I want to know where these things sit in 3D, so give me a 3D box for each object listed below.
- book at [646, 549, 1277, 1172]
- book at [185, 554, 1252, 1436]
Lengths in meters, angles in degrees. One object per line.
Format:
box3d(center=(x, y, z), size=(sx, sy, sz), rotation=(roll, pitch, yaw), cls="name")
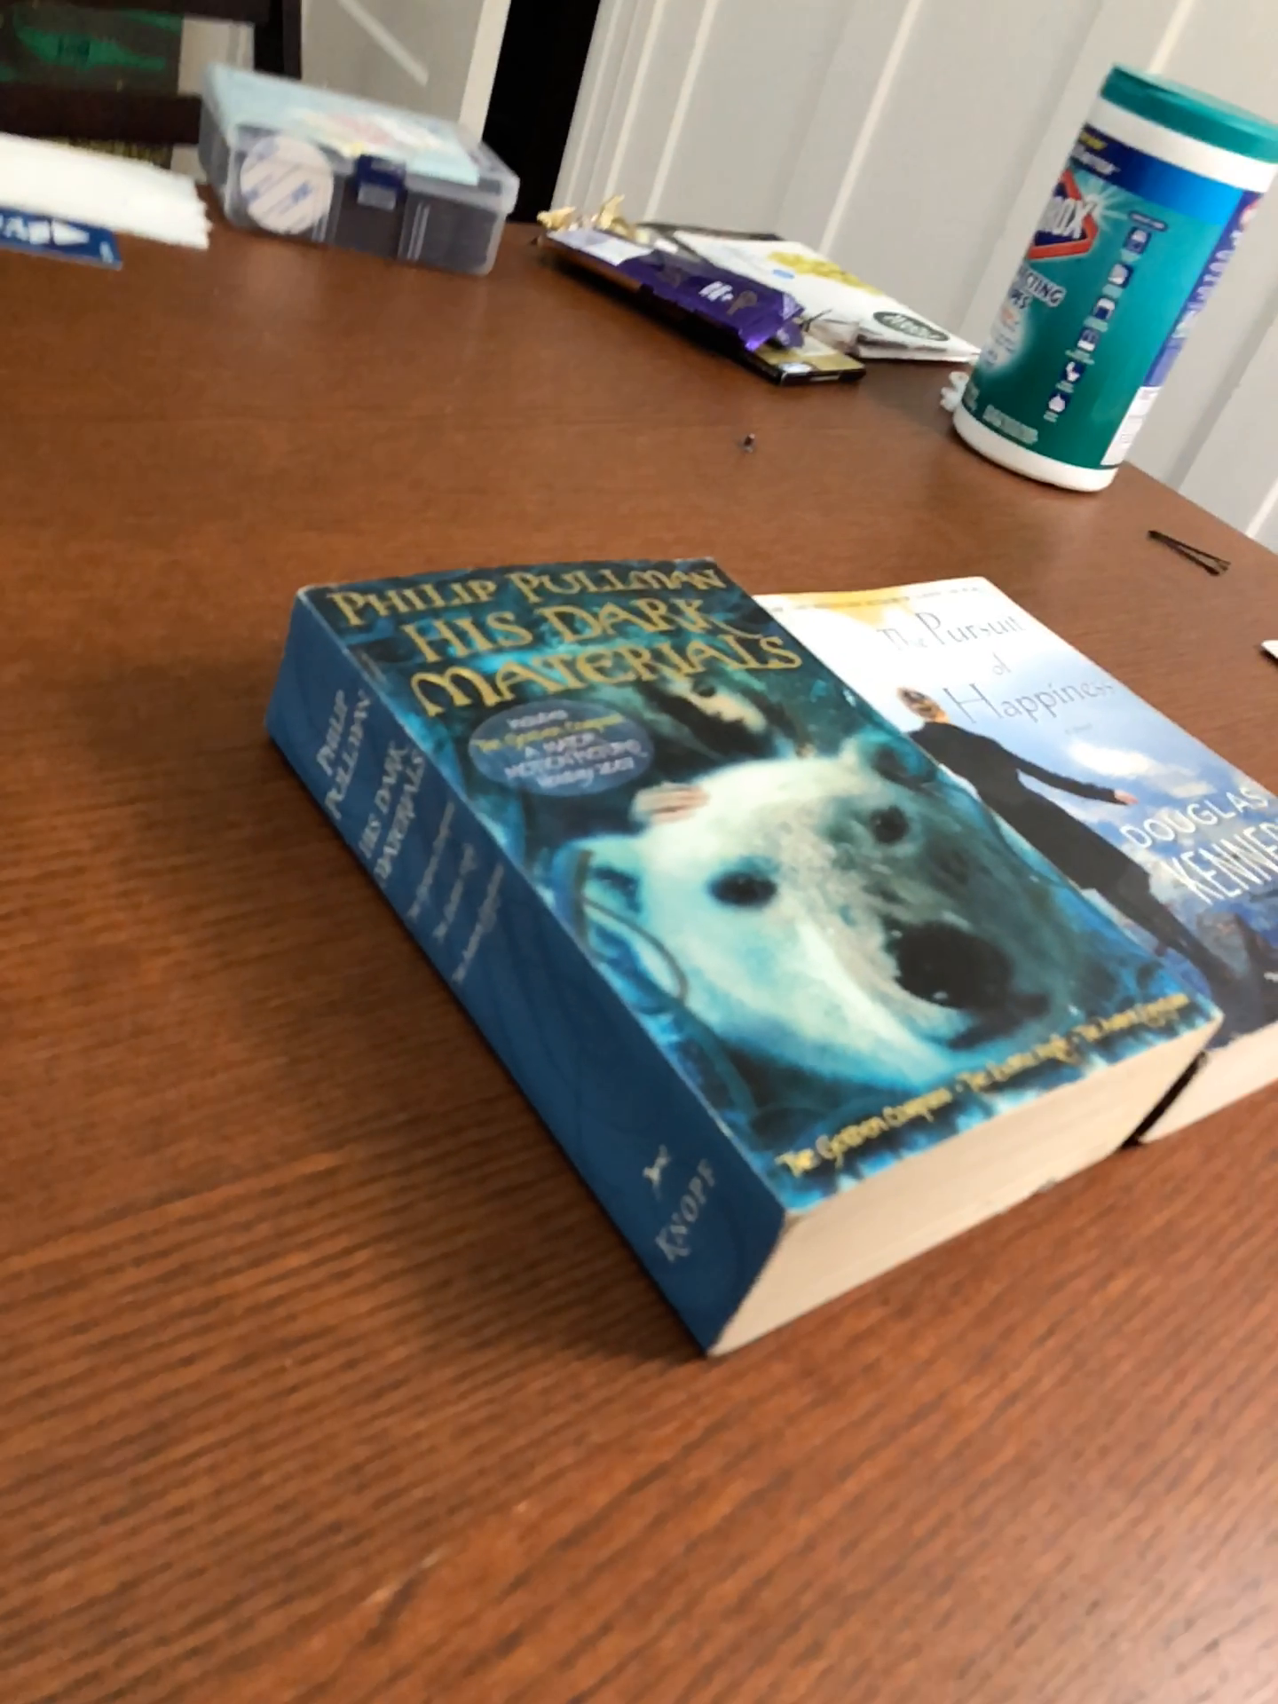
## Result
box3d(center=(0.148, -0.022, 0.487), size=(0.181, 0.040, 0.250), rotation=(-12, 46, -38), cls="book")
box3d(center=(0.012, 0.005, 0.389), size=(0.181, 0.050, 0.250), rotation=(-12, 46, -38), cls="book")
